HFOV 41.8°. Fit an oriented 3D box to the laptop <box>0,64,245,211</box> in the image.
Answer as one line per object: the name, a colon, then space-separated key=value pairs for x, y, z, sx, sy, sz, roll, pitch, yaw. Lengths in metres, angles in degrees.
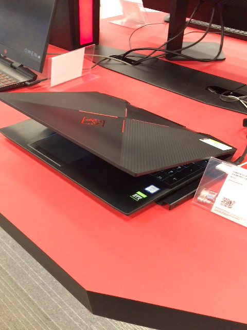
laptop: x=-0.020 y=-0.078 z=0.589 sx=0.246 sy=0.091 sz=0.337 roll=-30 pitch=45 yaw=-32
